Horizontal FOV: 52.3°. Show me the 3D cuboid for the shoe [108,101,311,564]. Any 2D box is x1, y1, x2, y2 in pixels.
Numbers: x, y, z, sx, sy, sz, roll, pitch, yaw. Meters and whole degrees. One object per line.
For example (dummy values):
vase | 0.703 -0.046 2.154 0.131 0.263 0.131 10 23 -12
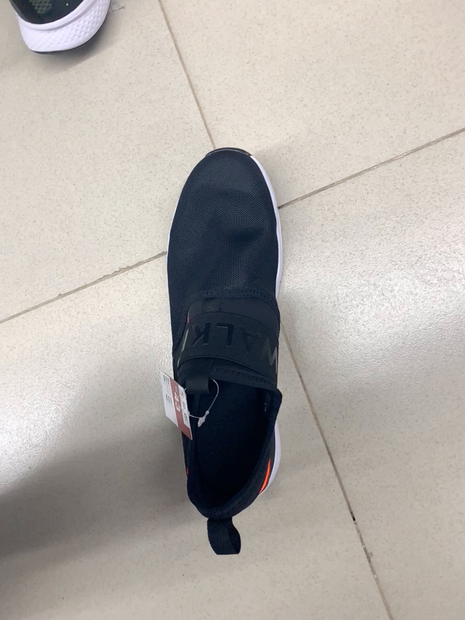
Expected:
shoe | -0.008 0.016 0.357 0.110 0.120 0.280 -4 88 12
